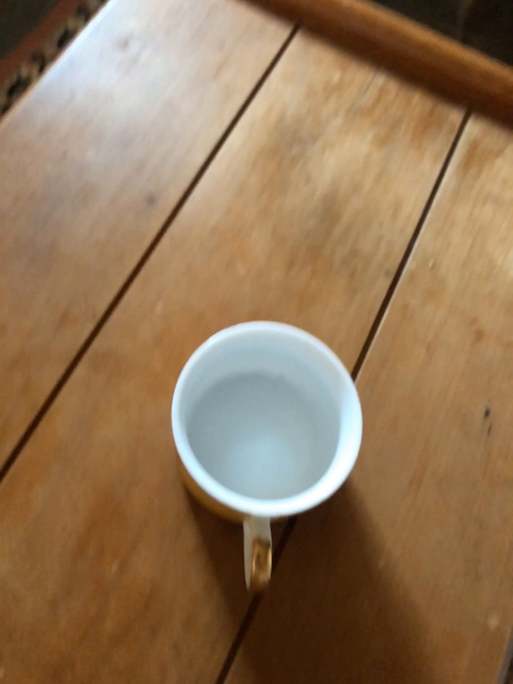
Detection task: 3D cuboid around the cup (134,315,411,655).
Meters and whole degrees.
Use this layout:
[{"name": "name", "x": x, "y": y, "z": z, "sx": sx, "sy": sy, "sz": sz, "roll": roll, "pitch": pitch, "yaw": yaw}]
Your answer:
[{"name": "cup", "x": 0.001, "y": 0.043, "z": 0.184, "sx": 0.070, "sy": 0.050, "sz": 0.090, "roll": 1, "pitch": 68, "yaw": -7}]
